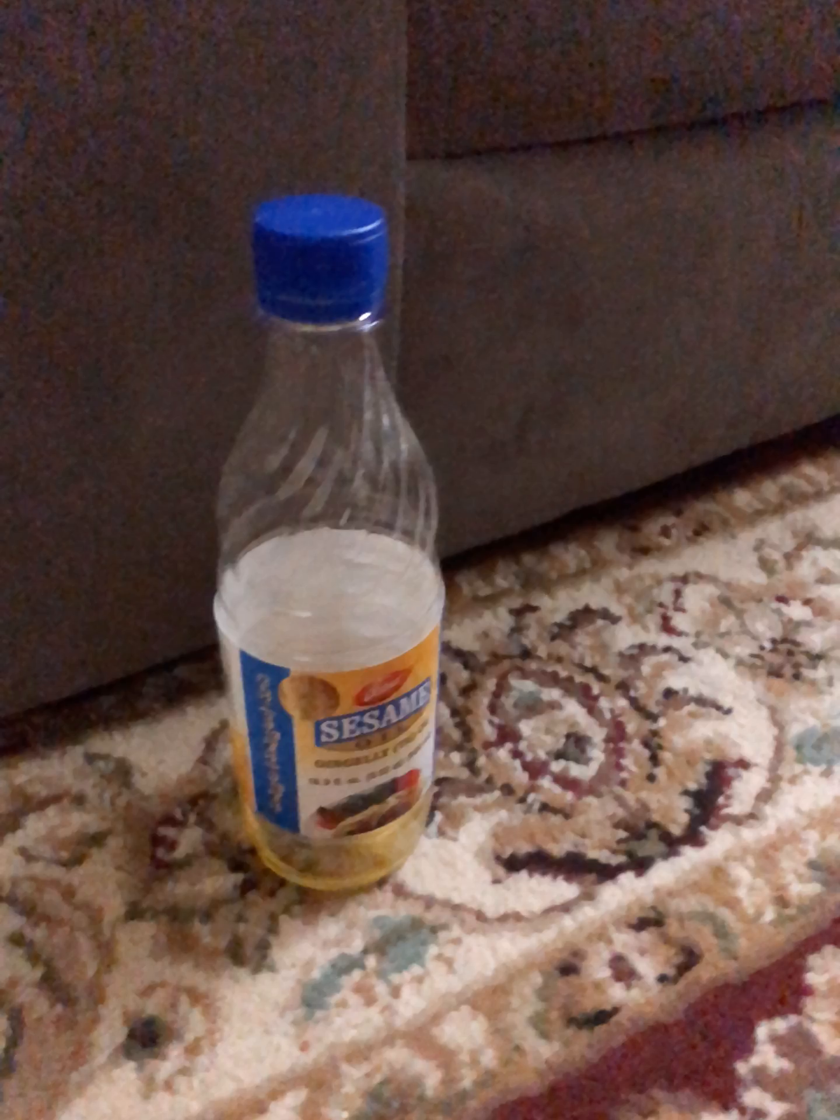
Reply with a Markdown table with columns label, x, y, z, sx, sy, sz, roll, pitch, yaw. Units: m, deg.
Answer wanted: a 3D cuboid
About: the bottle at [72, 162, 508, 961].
| label | x | y | z | sx | sy | sz | roll | pitch | yaw |
| --- | --- | --- | --- | --- | --- | --- | --- | --- | --- |
| bottle | -0.029 | 0.008 | 0.255 | 0.070 | 0.199 | 0.070 | -1 | 35 | 0 |
